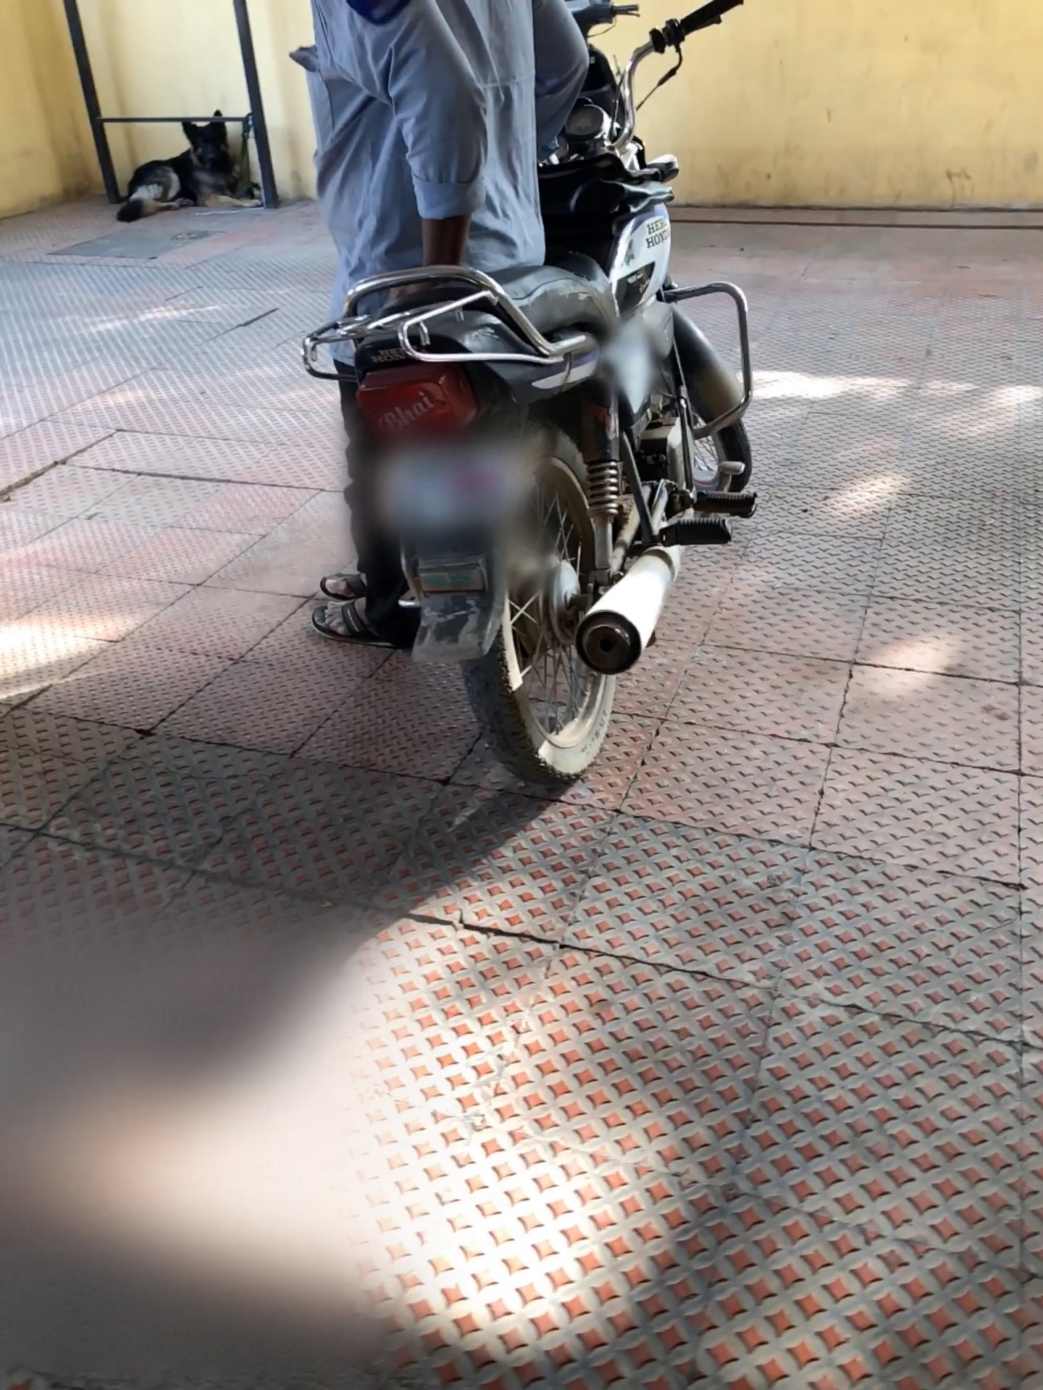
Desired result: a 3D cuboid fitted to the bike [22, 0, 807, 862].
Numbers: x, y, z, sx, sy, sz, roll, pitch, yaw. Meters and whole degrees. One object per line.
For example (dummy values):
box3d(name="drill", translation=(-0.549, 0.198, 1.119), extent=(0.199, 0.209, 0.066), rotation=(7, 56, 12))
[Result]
box3d(name="bike", translation=(0.011, -0.603, 2.020), extent=(0.816, 1.063, 1.307), rotation=(5, 35, 13))
